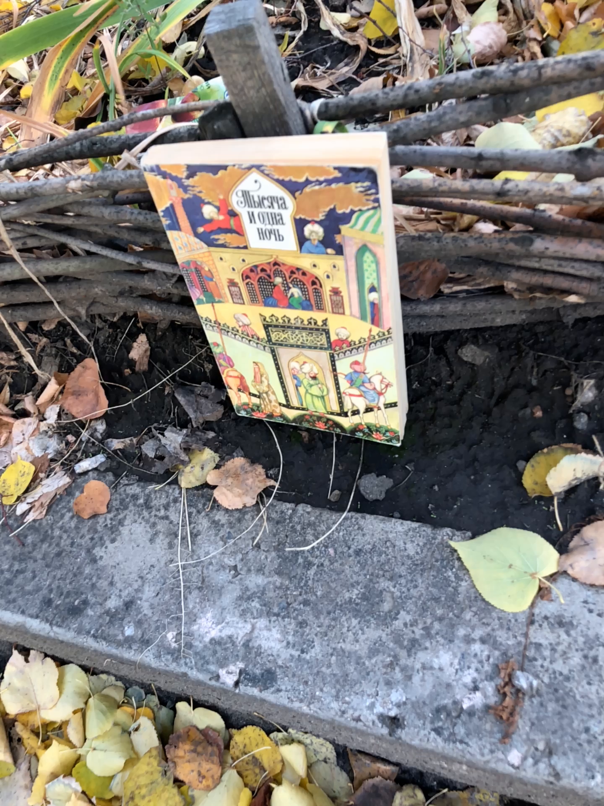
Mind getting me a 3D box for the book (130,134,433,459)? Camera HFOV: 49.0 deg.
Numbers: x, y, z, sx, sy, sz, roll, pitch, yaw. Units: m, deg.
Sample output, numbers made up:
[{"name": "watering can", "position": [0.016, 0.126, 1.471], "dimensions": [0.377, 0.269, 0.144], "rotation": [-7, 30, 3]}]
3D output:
[{"name": "book", "position": [0.000, -0.049, 0.355], "dimensions": [0.123, 0.182, 0.029], "rotation": [11, 52, 25]}]
